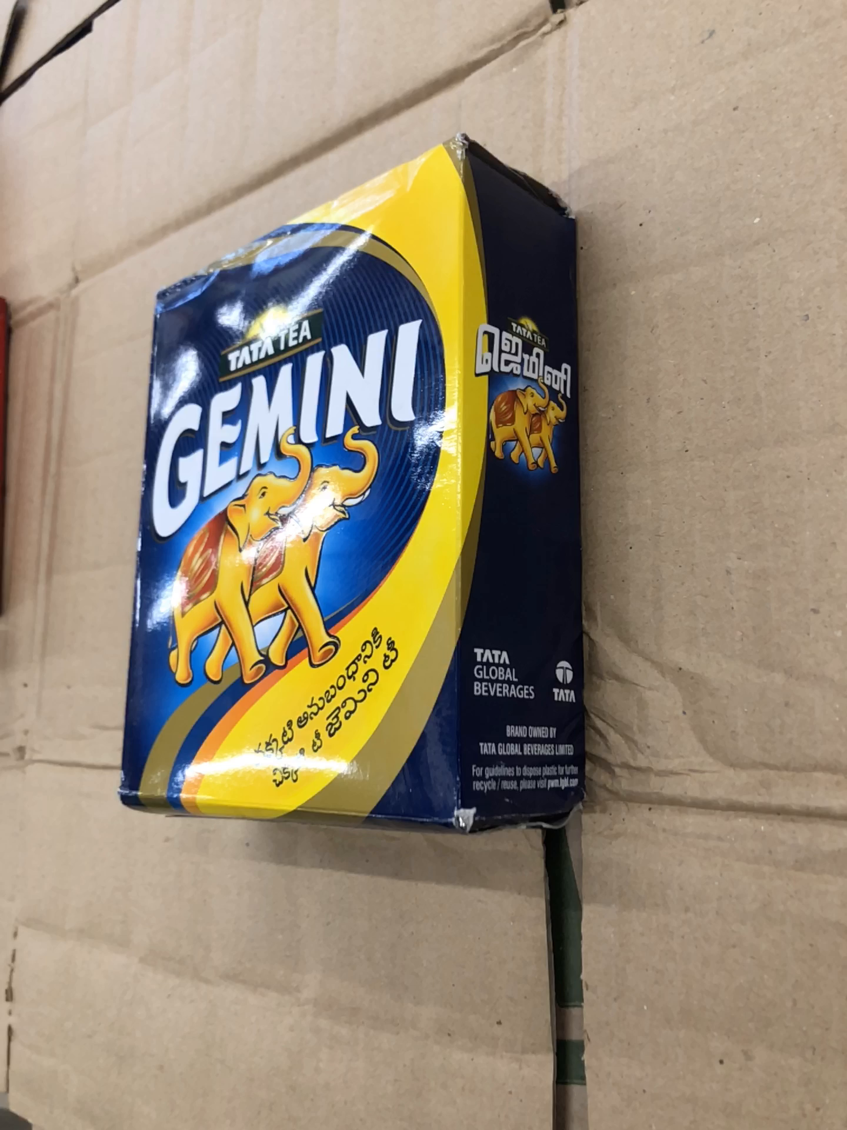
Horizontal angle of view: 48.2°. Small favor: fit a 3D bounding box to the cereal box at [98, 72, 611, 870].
[{"bbox_3d":[-0.026,-0.014,0.261,0.140,0.050,0.170,-9,78,41],"label":"cereal box"}]
